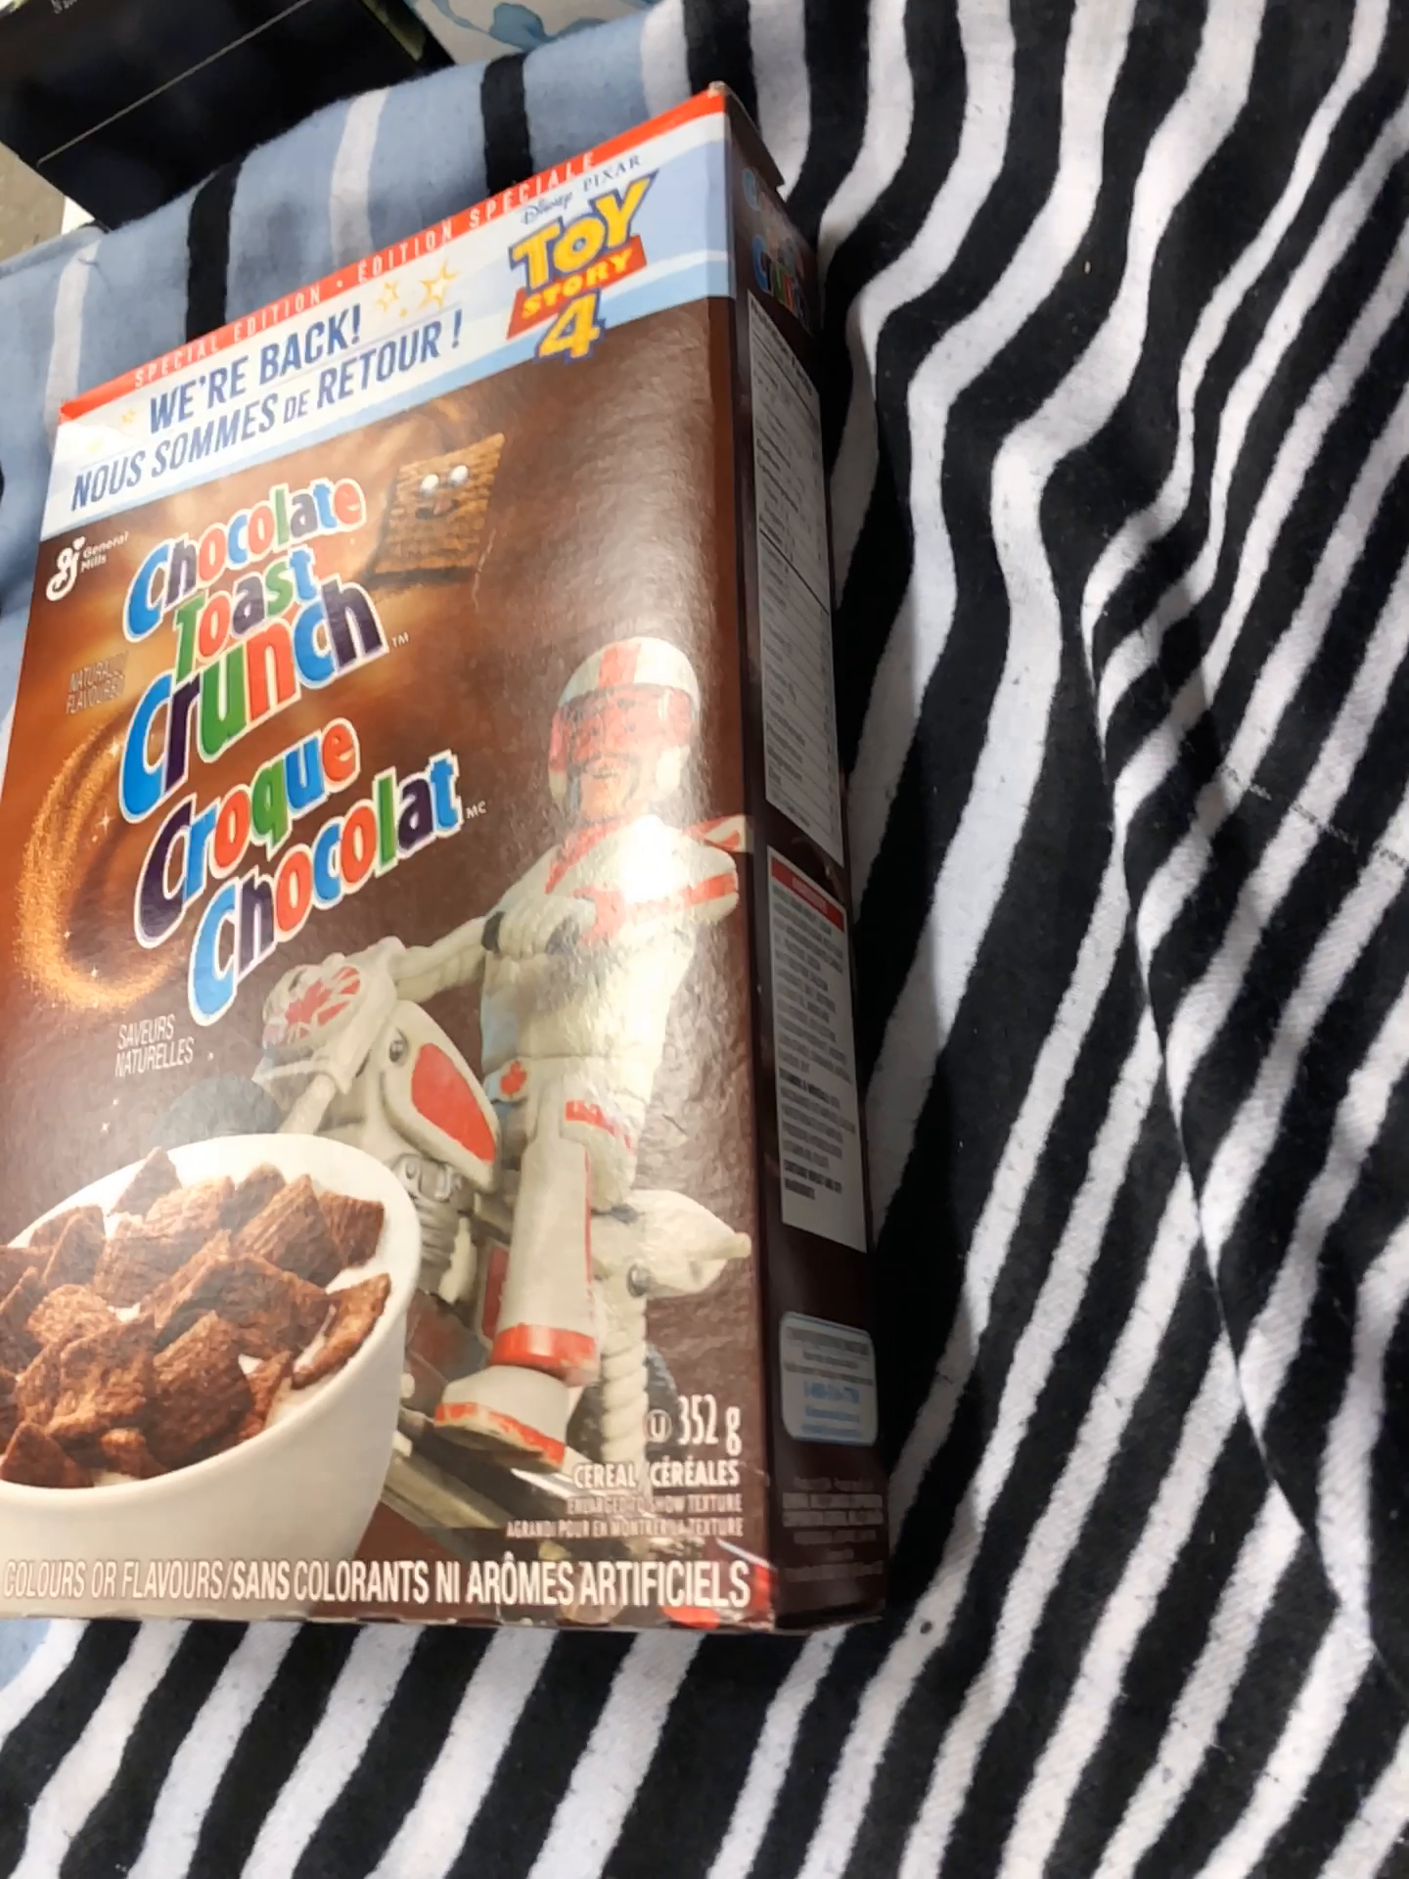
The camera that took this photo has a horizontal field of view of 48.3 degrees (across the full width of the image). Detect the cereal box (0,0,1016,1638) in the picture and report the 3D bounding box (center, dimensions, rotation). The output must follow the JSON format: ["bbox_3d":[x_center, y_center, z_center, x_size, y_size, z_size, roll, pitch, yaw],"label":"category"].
[{"bbox_3d":[-0.064,-0.021,0.329,0.211,0.060,0.300,-13,69,26],"label":"cereal box"}]
